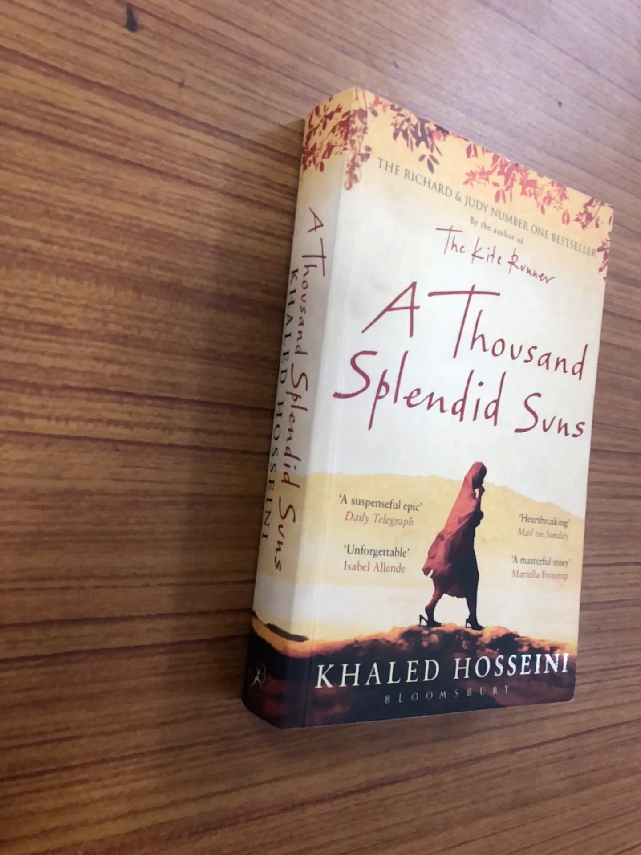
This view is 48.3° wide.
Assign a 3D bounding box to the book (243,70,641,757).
[{"bbox_3d":[0.054,0.003,0.247,0.140,0.030,0.190,9,85,-34],"label":"book"}]
